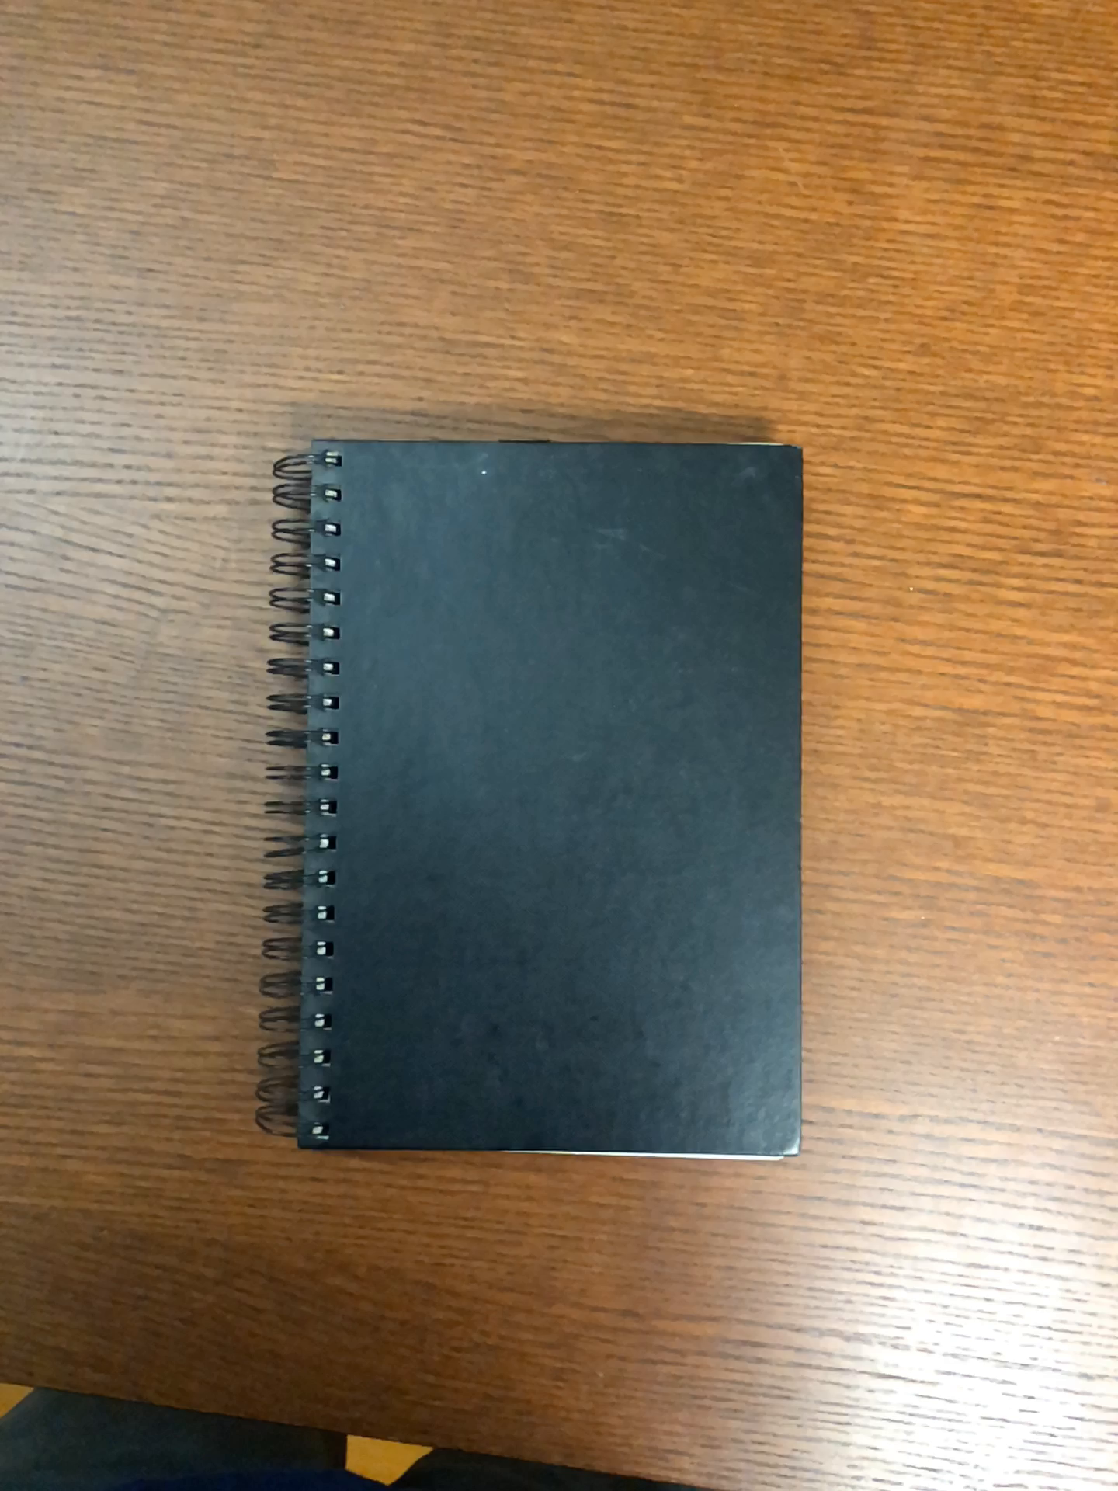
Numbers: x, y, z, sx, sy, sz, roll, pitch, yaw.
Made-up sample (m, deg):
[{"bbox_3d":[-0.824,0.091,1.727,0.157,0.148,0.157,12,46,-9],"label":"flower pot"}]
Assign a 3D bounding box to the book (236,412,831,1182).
[{"bbox_3d":[-0.008,0.016,0.435,0.200,0.030,0.260,0,87,2],"label":"book"}]
